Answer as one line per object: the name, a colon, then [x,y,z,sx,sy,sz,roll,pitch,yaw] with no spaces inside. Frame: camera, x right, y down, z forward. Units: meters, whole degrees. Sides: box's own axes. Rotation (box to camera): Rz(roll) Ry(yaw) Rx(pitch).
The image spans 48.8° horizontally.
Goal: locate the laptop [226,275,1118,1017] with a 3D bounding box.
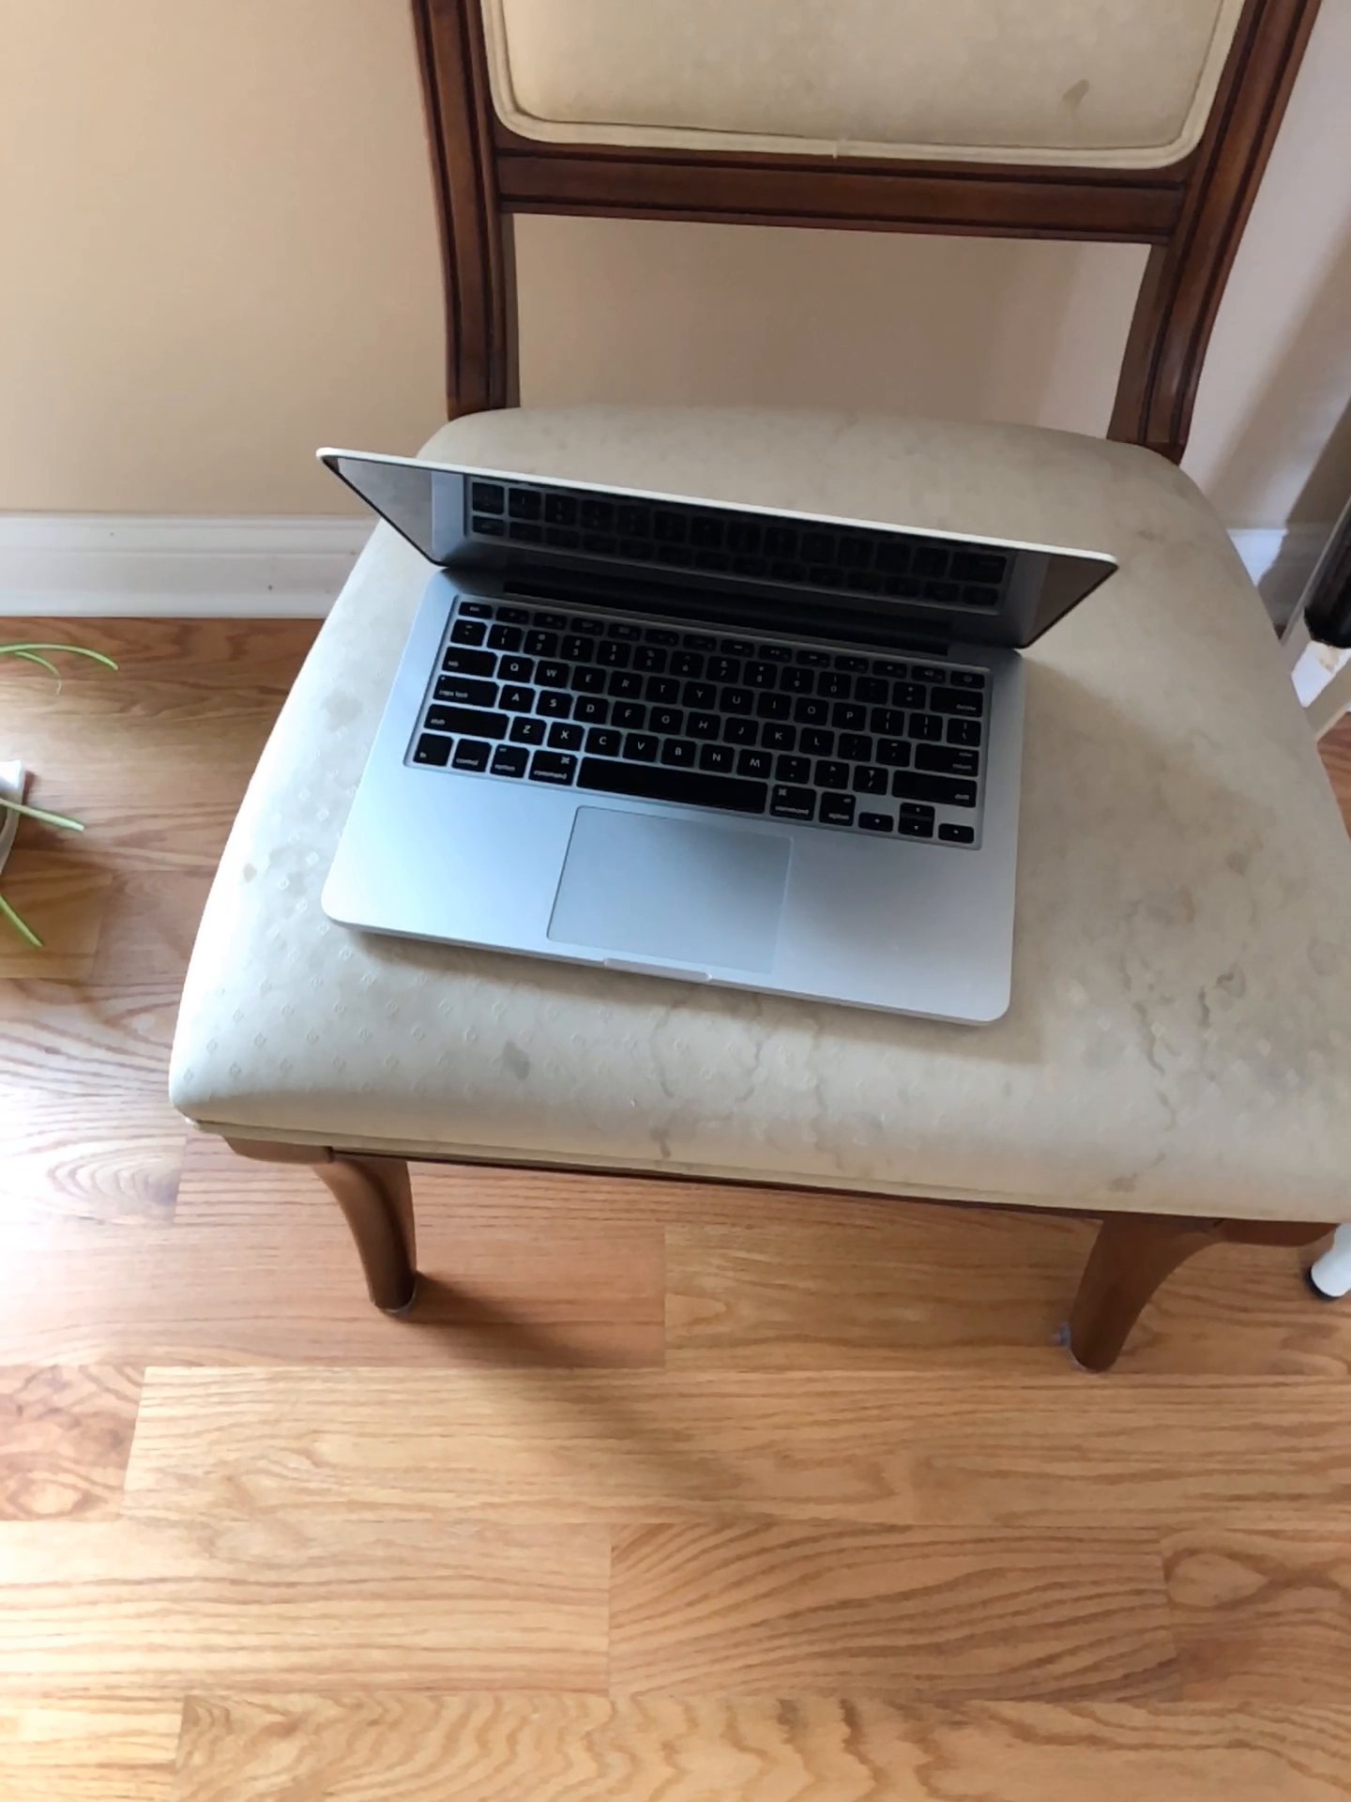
laptop: [0.010,-0.109,0.647,0.309,0.183,0.219,8,58,4]
